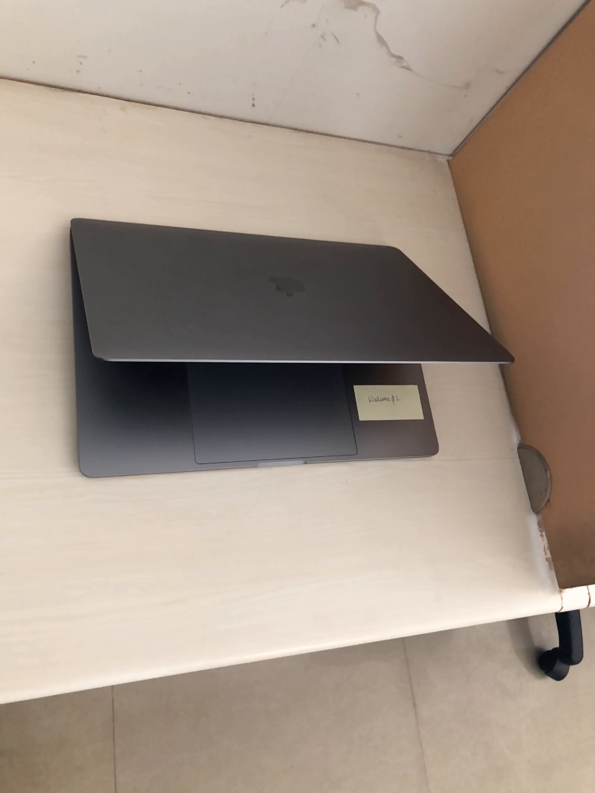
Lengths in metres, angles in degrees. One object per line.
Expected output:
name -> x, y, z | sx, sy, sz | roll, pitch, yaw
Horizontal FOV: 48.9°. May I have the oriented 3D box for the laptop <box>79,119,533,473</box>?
laptop -> -0.004, -0.073, 0.557 | 0.330, 0.134, 0.233 | 0, 69, -23
